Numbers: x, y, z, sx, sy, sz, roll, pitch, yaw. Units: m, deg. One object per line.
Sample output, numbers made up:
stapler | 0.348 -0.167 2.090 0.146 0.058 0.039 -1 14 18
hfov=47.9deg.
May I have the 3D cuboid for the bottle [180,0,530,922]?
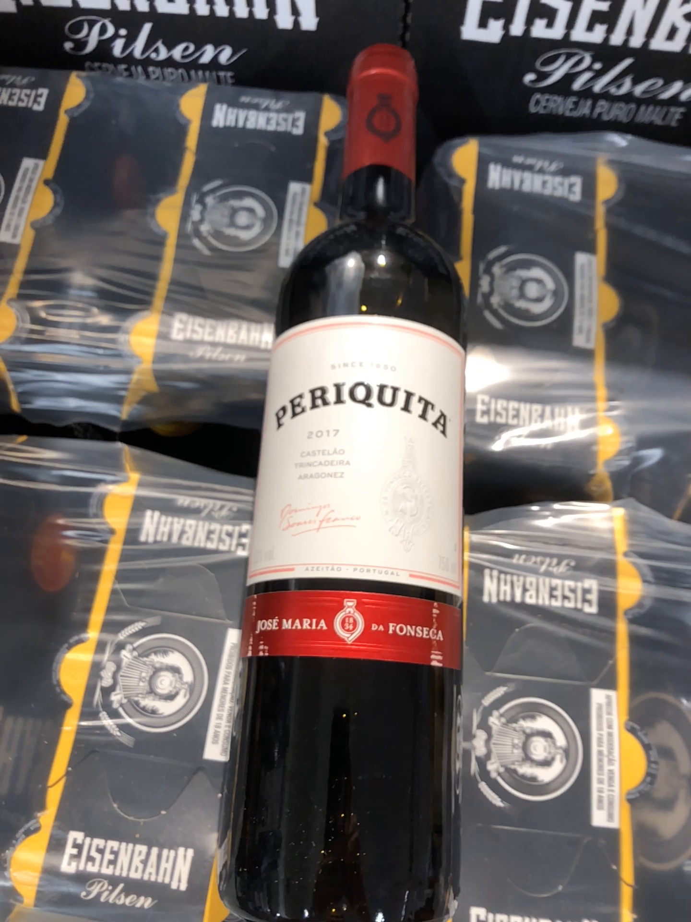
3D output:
bottle | 0.012 -0.029 0.263 0.080 0.070 0.331 4 71 0
